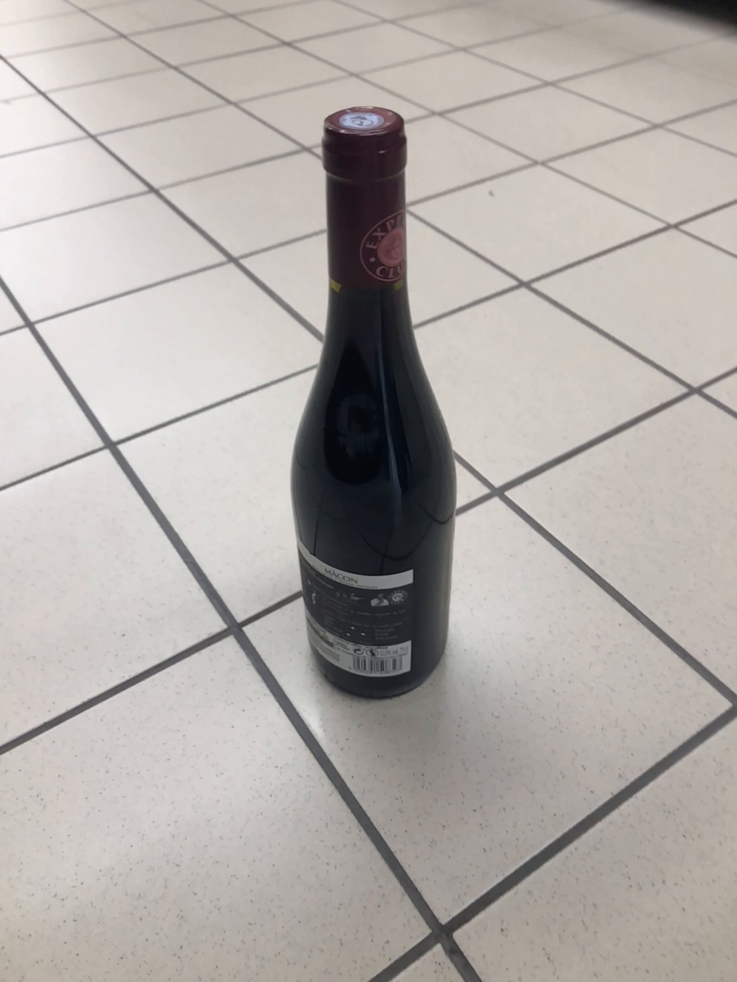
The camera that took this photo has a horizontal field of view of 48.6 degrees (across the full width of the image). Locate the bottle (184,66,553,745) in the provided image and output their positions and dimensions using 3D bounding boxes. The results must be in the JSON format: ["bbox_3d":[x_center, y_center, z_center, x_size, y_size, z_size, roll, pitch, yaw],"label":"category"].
[{"bbox_3d":[0.006,-0.017,0.367,0.090,0.288,0.091,-1,43,1],"label":"bottle"}]
